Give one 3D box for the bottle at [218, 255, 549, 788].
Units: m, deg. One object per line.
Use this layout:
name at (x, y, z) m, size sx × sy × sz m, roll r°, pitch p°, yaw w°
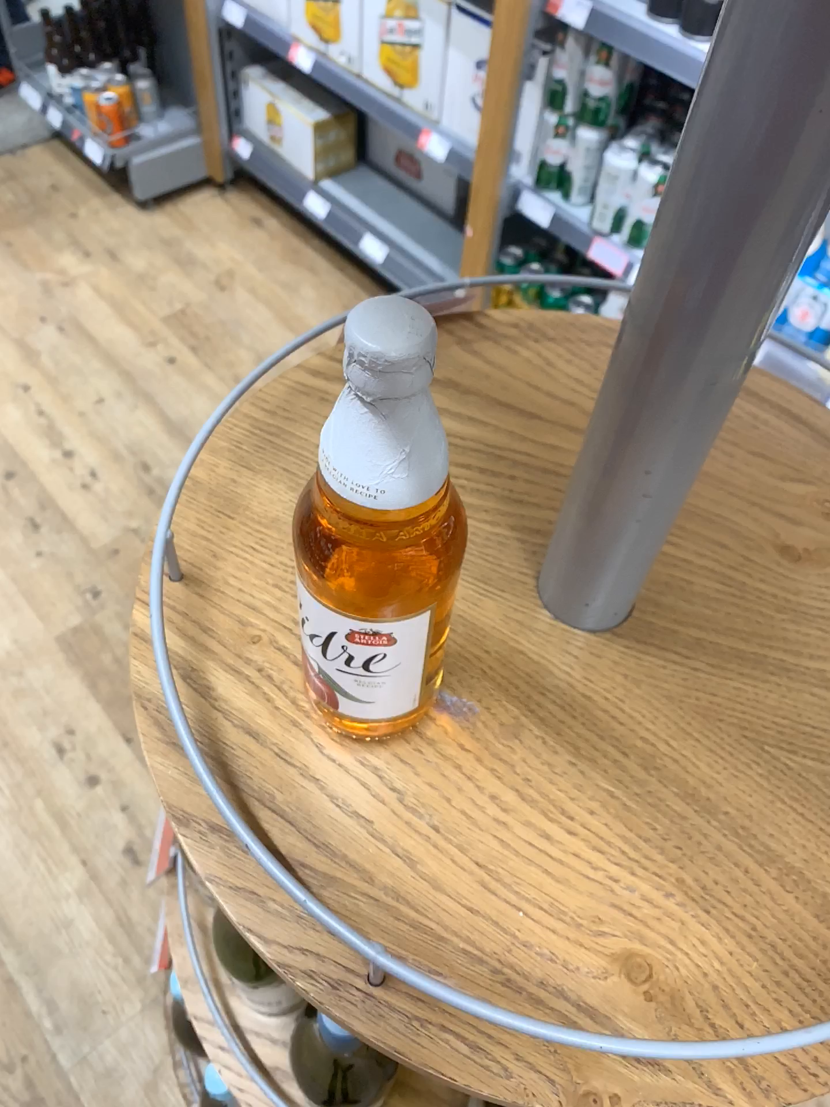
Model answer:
bottle at (-0.016, 0.005, 0.342) m, size 0.070 × 0.218 × 0.069 m, roll 2°, pitch 54°, yaw -3°
